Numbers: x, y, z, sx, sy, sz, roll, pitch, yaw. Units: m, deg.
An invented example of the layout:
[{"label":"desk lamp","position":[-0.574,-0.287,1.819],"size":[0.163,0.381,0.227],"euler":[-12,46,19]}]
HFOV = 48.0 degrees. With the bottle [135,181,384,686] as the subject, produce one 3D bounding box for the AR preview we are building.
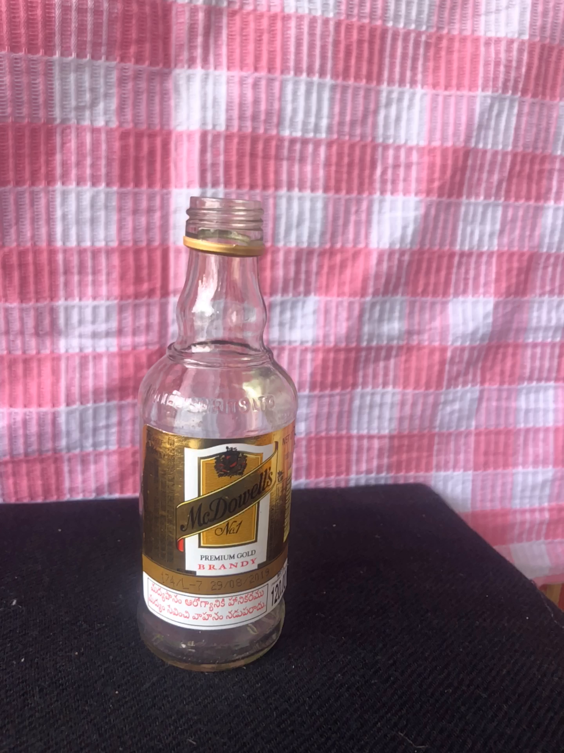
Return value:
[{"label":"bottle","position":[-0.014,0.018,0.205],"size":[0.060,0.149,0.050],"euler":[2,16,-12]}]
